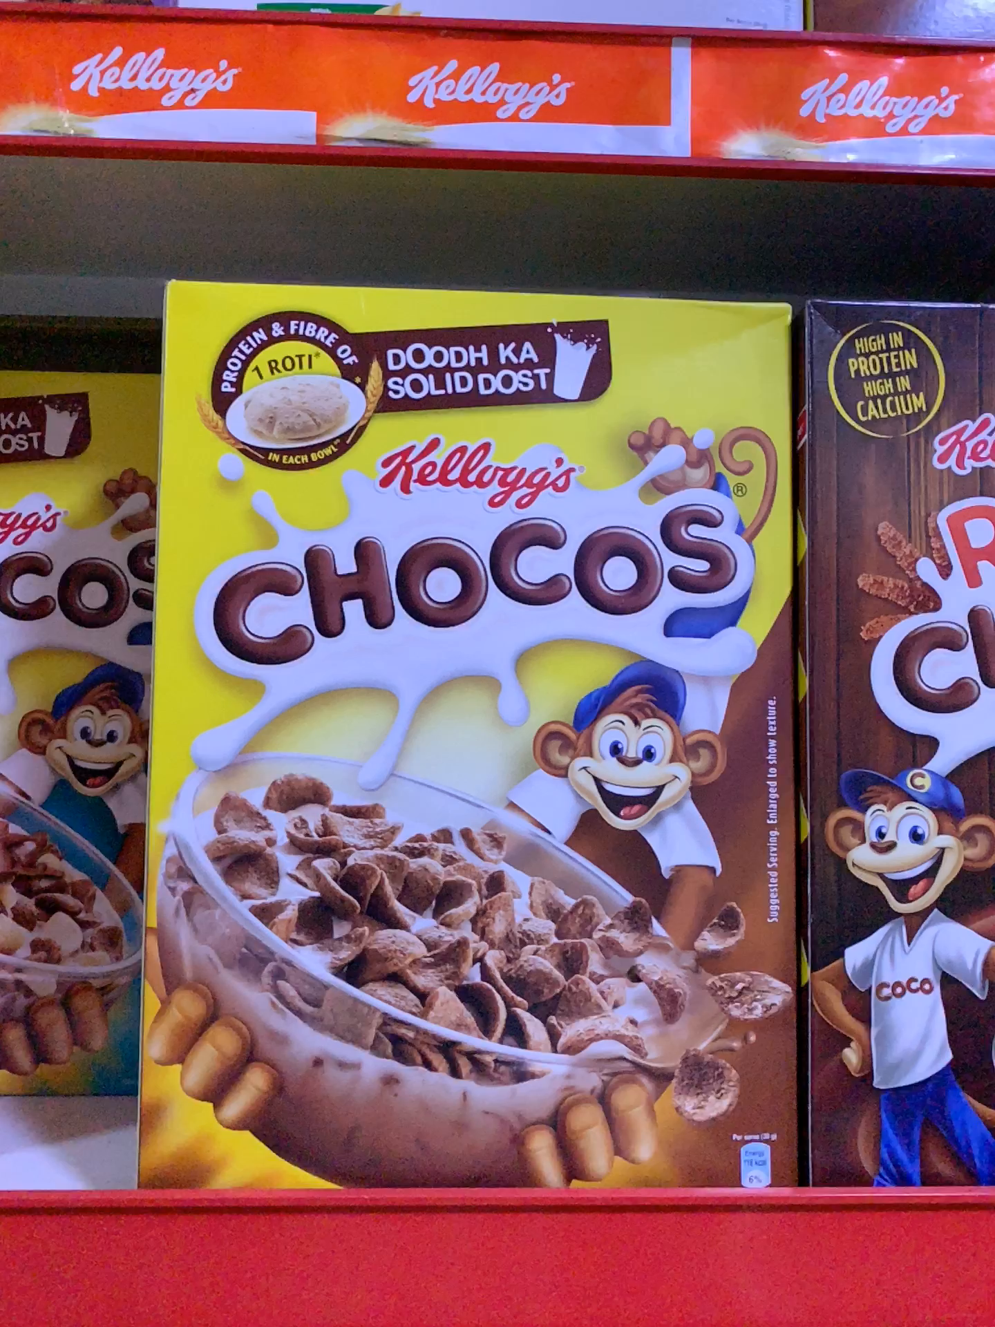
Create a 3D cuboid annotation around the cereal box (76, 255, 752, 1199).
[{"bbox_3d":[-0.020,0.016,0.297,0.170,0.240,0.060,1,-3,-2],"label":"cereal box"}]
